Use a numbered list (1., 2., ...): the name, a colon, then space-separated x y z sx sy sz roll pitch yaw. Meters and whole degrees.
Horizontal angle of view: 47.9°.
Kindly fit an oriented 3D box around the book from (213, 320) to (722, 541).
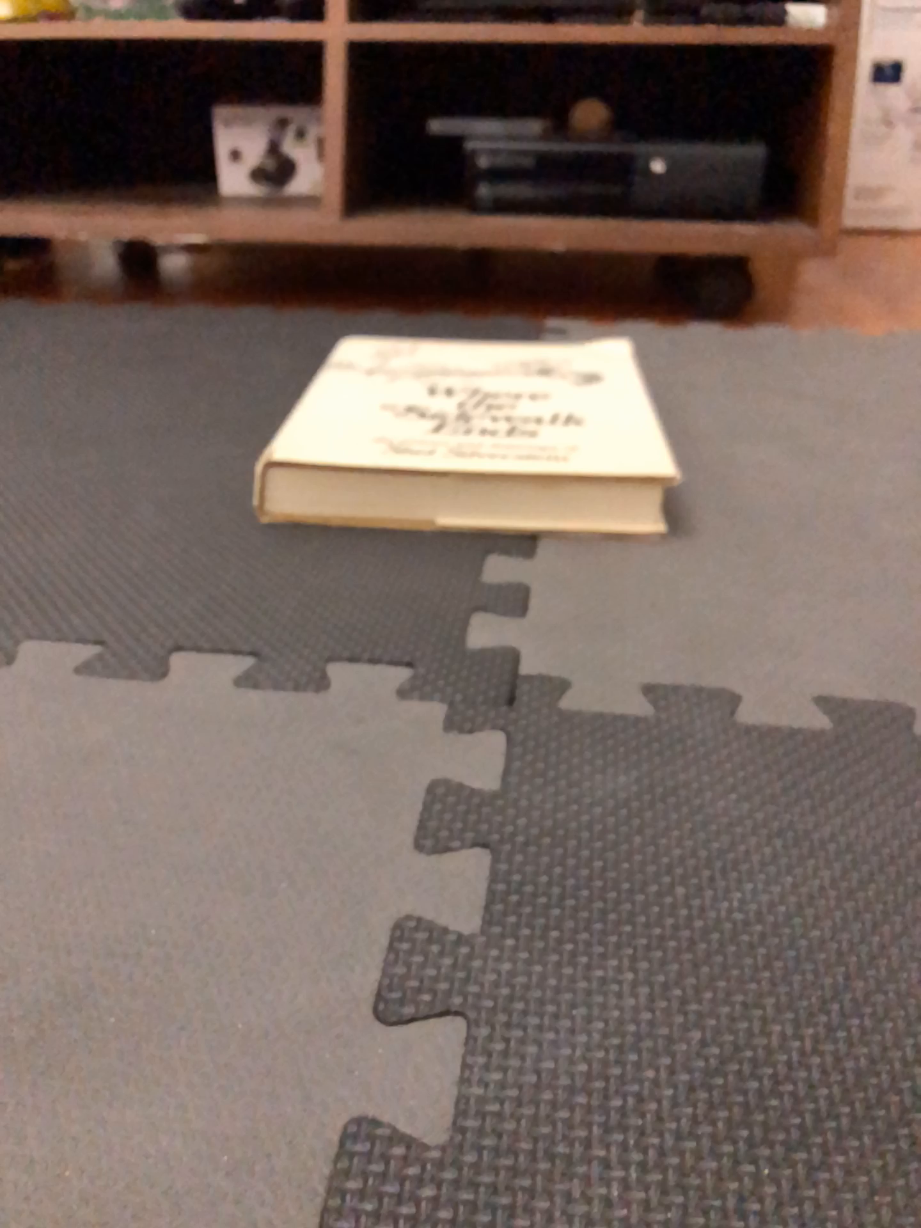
1. book: 0.011 -0.109 0.539 0.200 0.030 0.282 2 26 3
